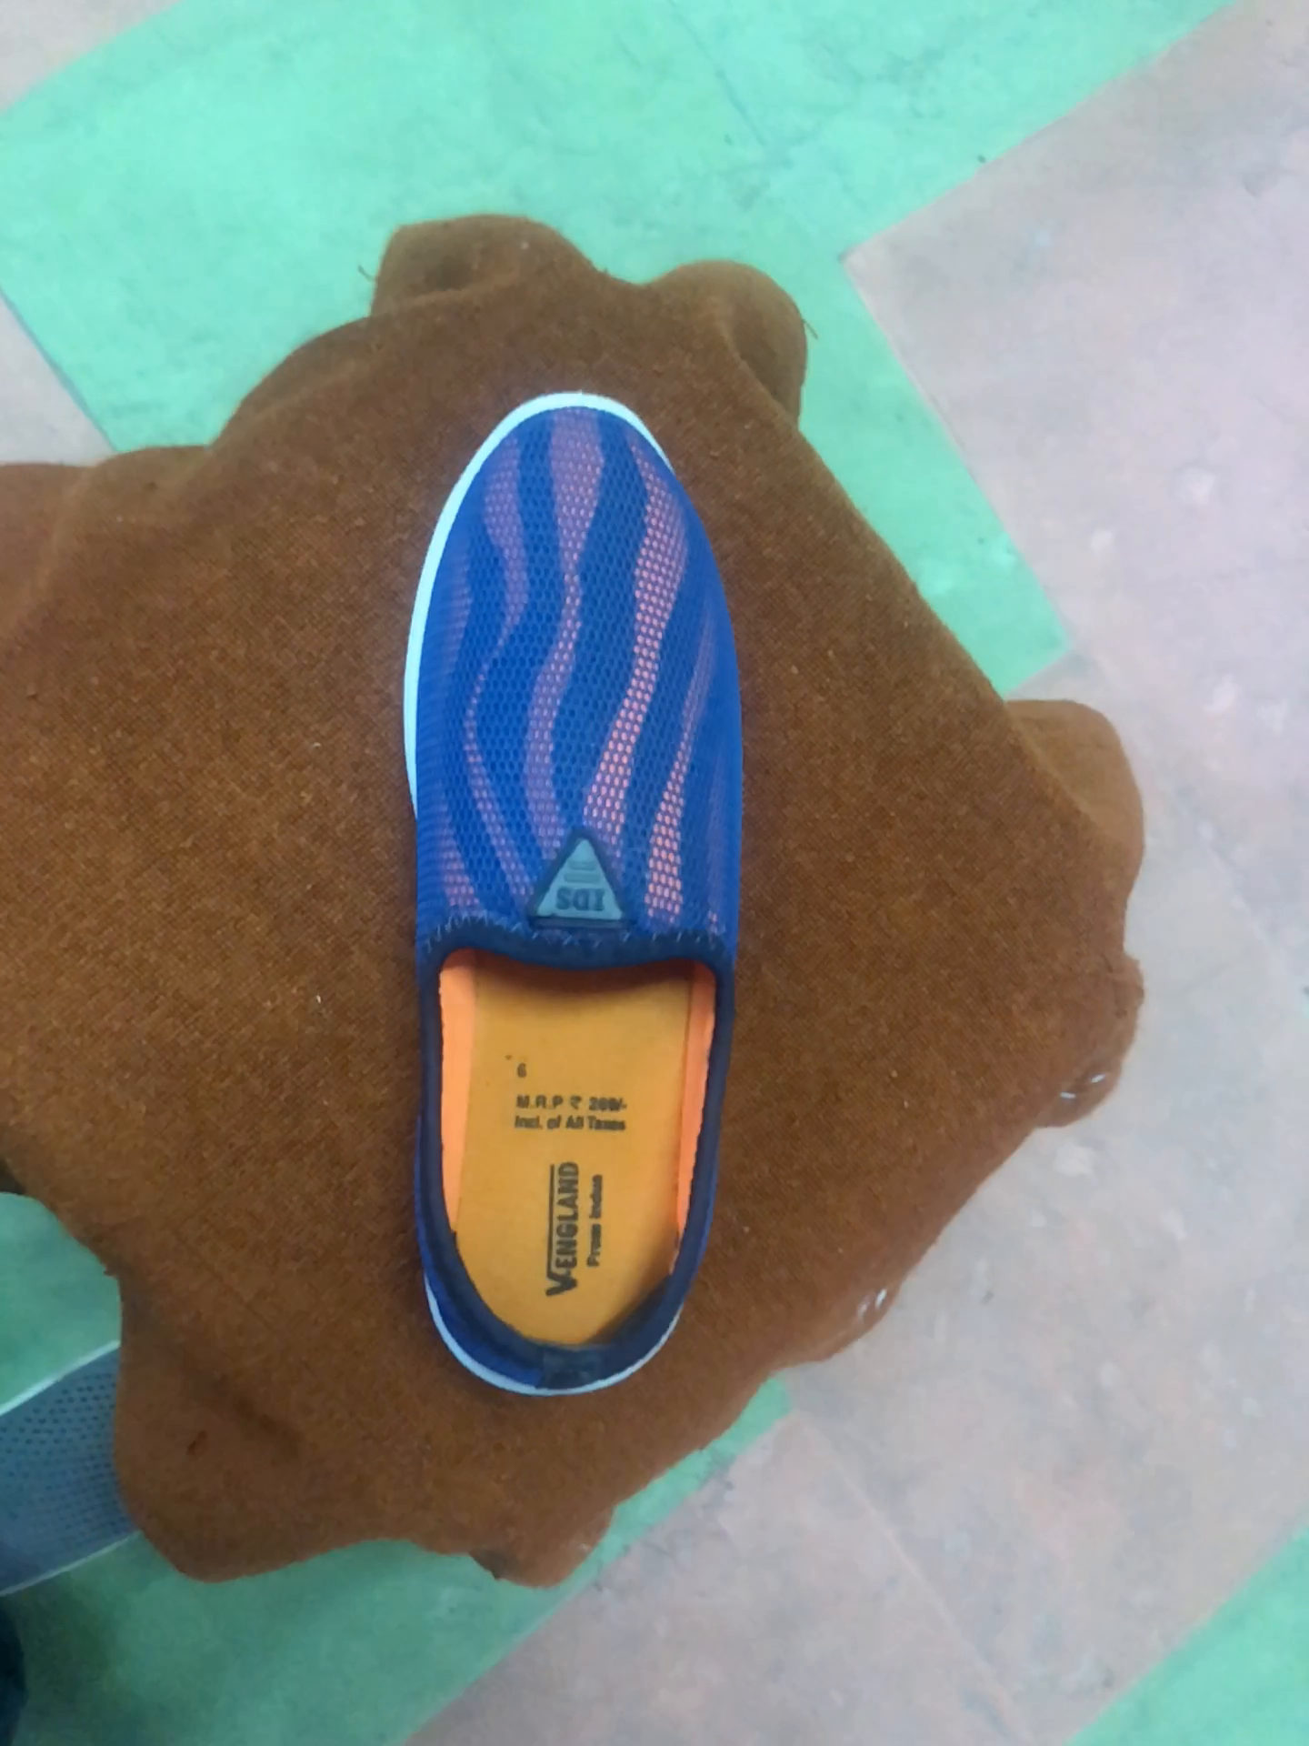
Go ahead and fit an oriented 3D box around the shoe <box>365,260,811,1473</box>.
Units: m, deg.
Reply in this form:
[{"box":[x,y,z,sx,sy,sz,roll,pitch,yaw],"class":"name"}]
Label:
[{"box":[-0.020,0.000,0.354,0.090,0.070,0.260,2,89,-12],"class":"shoe"}]
